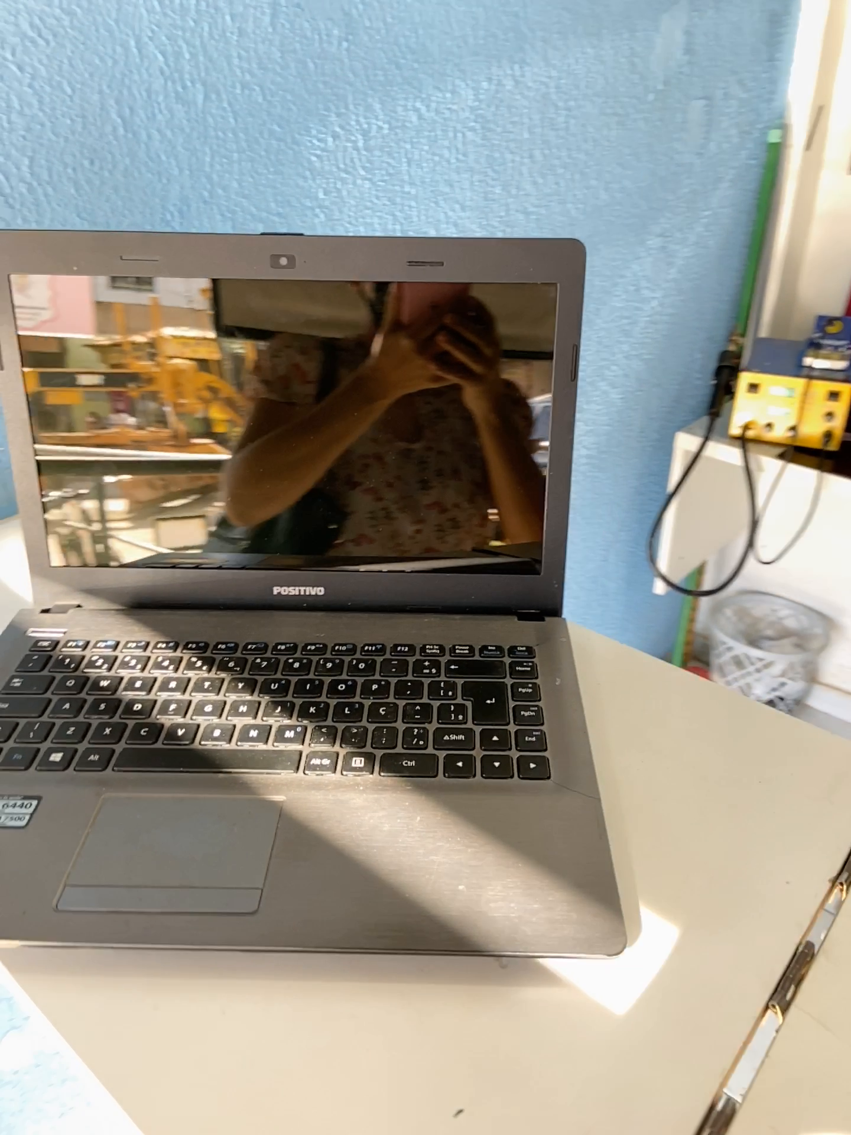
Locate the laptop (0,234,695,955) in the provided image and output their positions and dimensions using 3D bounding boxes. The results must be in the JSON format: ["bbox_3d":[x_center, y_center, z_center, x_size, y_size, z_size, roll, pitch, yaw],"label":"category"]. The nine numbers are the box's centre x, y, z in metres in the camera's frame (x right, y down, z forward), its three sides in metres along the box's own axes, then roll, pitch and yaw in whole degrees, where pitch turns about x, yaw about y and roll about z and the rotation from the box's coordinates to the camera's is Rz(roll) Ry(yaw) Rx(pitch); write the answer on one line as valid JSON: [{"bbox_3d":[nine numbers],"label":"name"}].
[{"bbox_3d":[-0.086,-0.019,0.418,0.334,0.211,0.284,1,30,2],"label":"laptop"}]
